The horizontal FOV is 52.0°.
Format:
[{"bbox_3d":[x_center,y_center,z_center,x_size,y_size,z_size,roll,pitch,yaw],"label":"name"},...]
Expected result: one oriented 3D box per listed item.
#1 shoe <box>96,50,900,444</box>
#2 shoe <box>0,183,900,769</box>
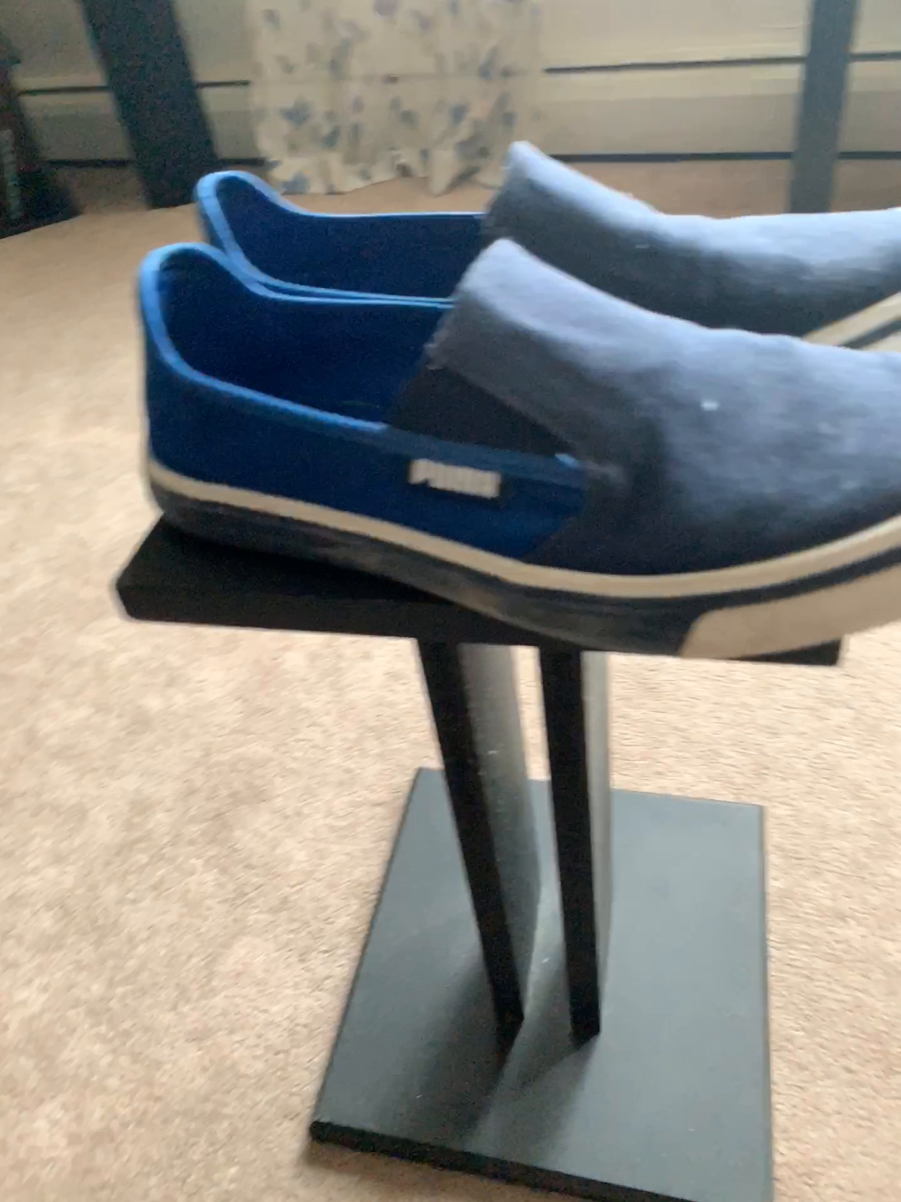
[{"bbox_3d":[0.044,-0.130,0.346,0.300,0.079,0.121,0,42,11],"label":"shoe"},{"bbox_3d":[0.029,-0.059,0.274,0.300,0.079,0.121,11,46,22],"label":"shoe"}]
